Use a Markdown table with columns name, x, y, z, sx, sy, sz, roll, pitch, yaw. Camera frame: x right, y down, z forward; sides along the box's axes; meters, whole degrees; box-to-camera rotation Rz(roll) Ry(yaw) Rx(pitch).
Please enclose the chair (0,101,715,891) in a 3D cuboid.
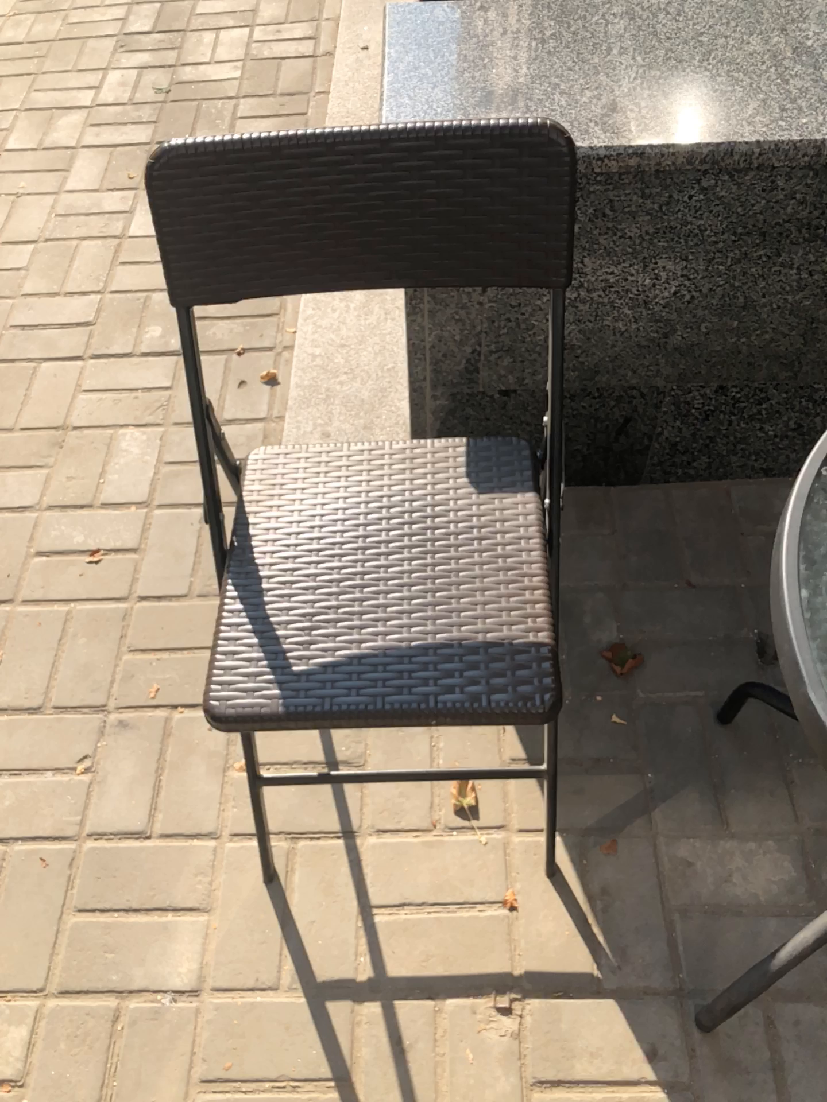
| name | x | y | z | sx | sy | sz | roll | pitch | yaw |
| --- | --- | --- | --- | --- | --- | --- | --- | --- | --- |
| chair | -0.032 | 0.004 | 1.021 | 0.450 | 0.748 | 0.511 | -2 | 54 | 1 |
